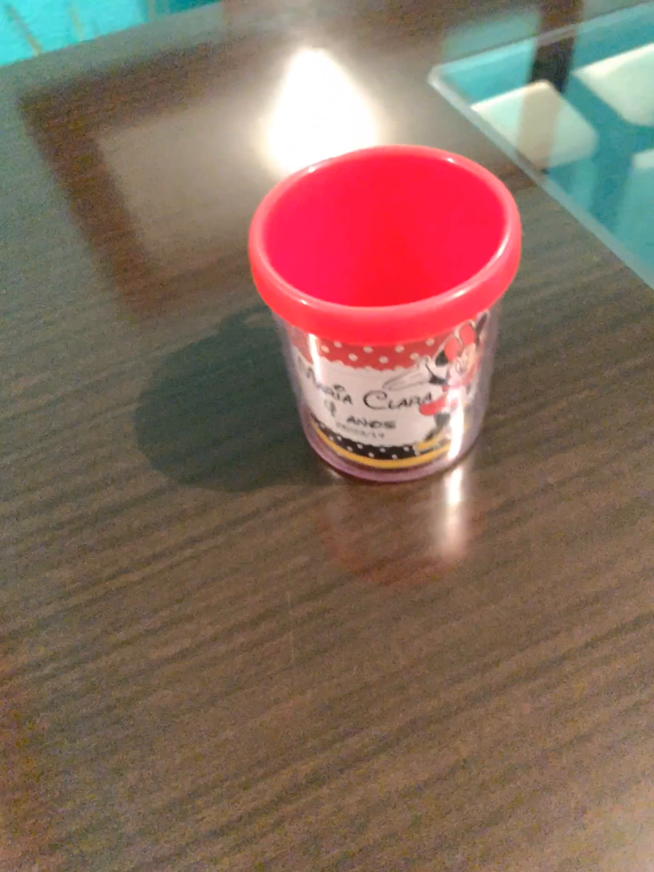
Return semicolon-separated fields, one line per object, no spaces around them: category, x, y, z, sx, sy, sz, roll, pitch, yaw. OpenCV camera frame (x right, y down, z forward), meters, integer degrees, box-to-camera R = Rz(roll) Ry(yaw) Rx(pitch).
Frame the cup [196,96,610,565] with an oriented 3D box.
cup;0.023;-0.041;0.271;0.090;0.110;0.120;-23;54;-10
